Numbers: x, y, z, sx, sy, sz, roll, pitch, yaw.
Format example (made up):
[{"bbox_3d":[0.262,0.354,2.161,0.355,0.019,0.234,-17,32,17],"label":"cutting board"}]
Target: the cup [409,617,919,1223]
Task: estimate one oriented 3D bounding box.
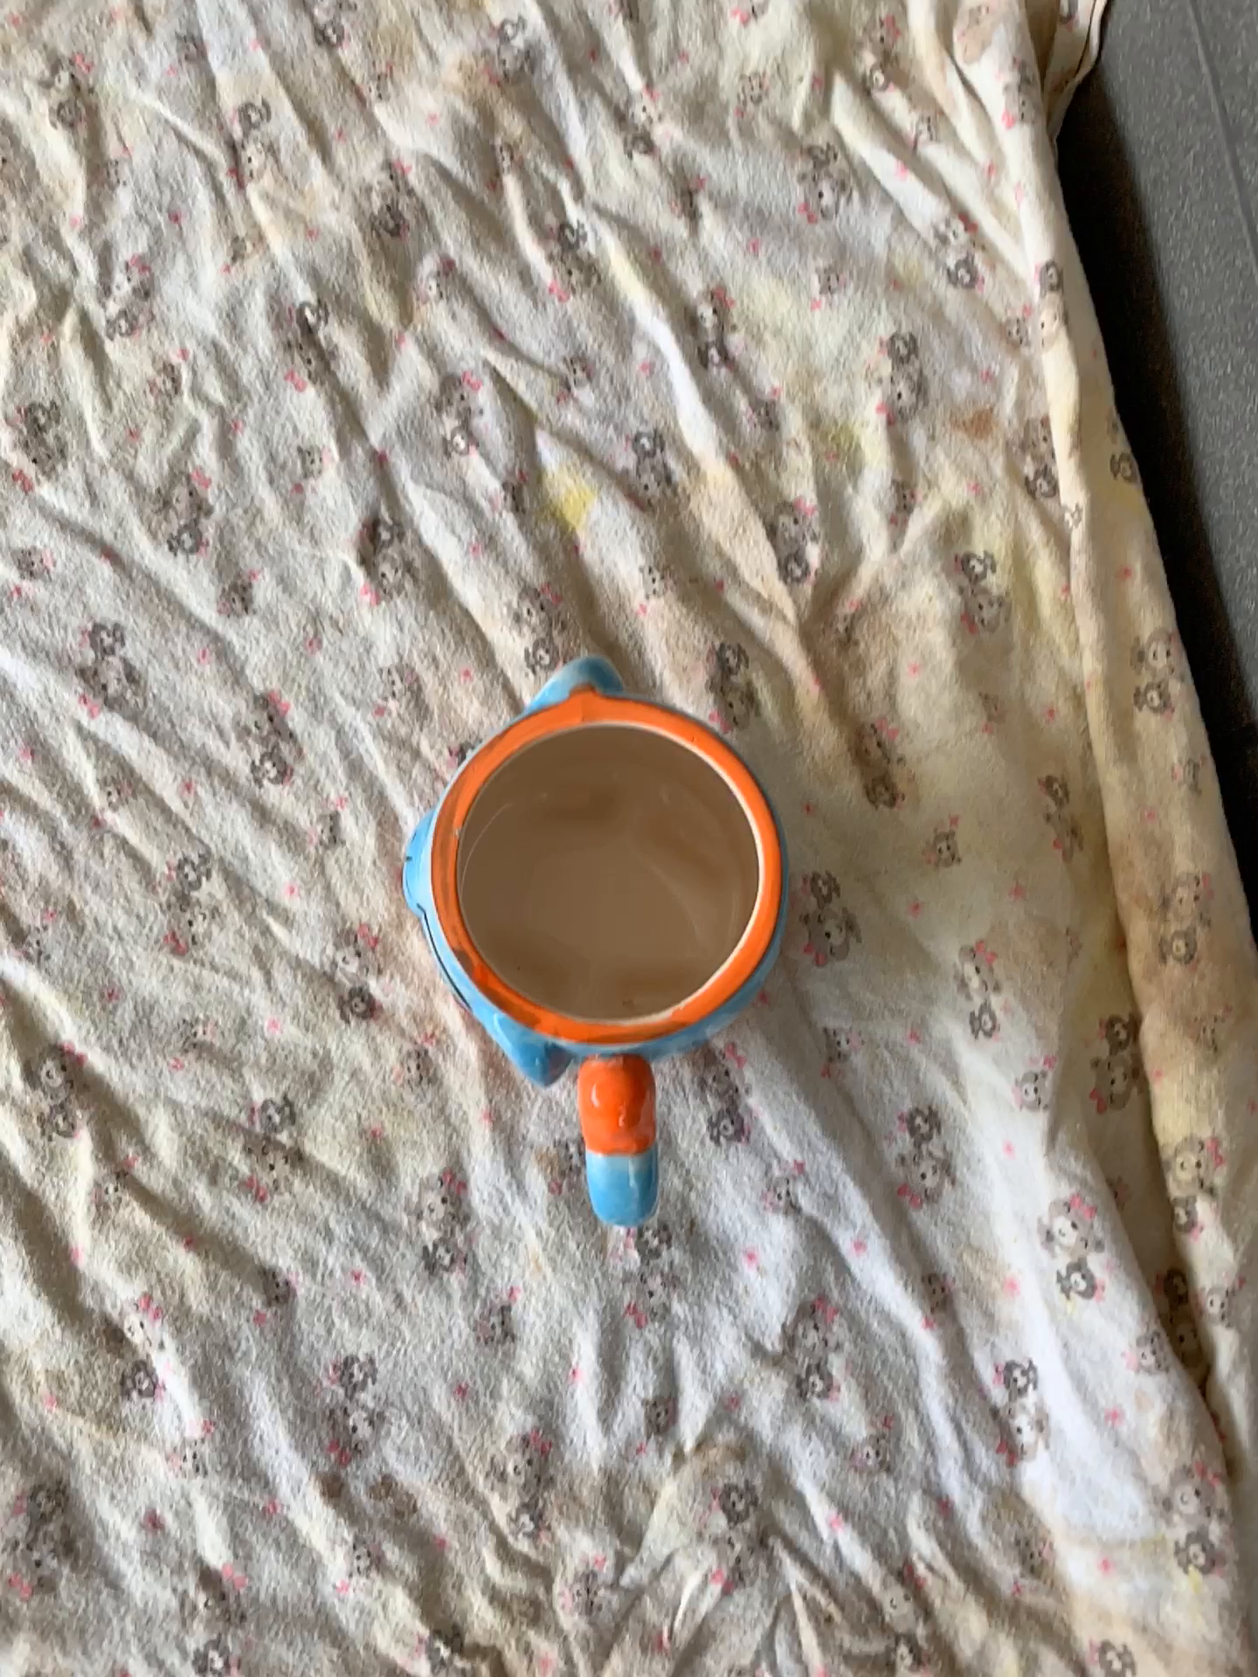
[{"bbox_3d":[0.003,0.020,0.287,0.090,0.090,0.110,-2,81,-4],"label":"cup"}]
